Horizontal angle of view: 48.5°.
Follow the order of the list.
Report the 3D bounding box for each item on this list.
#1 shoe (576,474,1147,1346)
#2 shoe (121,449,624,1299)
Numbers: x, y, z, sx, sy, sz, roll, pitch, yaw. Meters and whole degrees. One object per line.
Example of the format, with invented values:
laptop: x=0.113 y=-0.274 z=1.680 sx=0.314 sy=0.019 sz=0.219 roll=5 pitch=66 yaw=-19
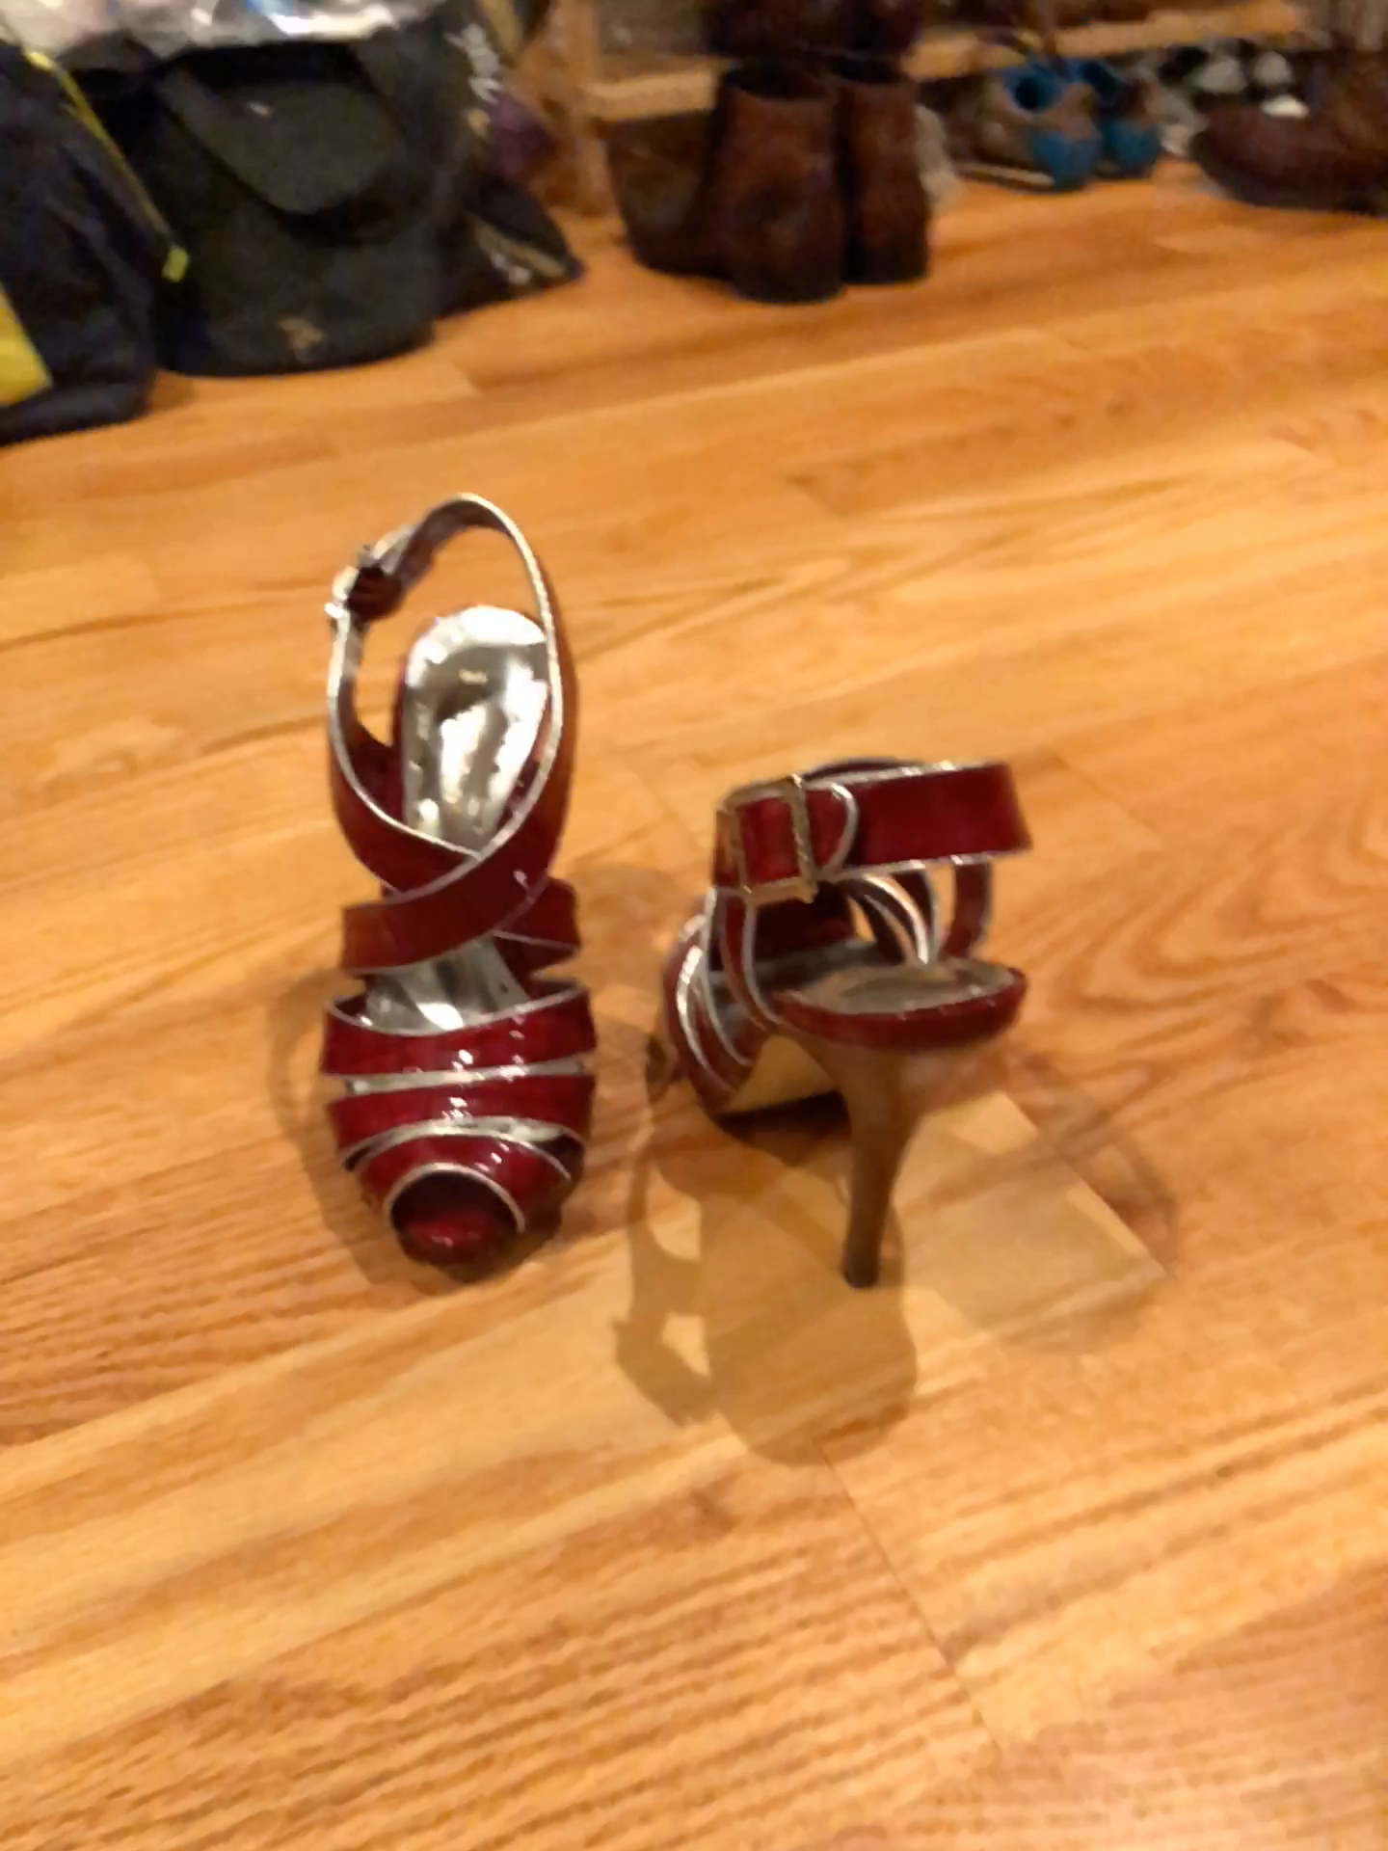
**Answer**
shoe: x=0.032 y=-0.016 z=0.420 sx=0.091 sy=0.141 sz=0.194 roll=-9 pitch=36 yaw=-7
shoe: x=-0.080 y=-0.026 z=0.444 sx=0.091 sy=0.151 sz=0.199 roll=-7 pitch=36 yaw=-4
